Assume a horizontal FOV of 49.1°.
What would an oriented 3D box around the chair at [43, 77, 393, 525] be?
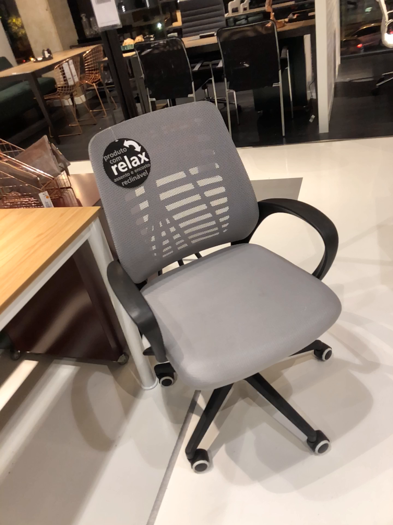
[{"bbox_3d":[0.104,0.055,1.181,0.661,0.853,0.664,-23,33,-15],"label":"chair"}]
